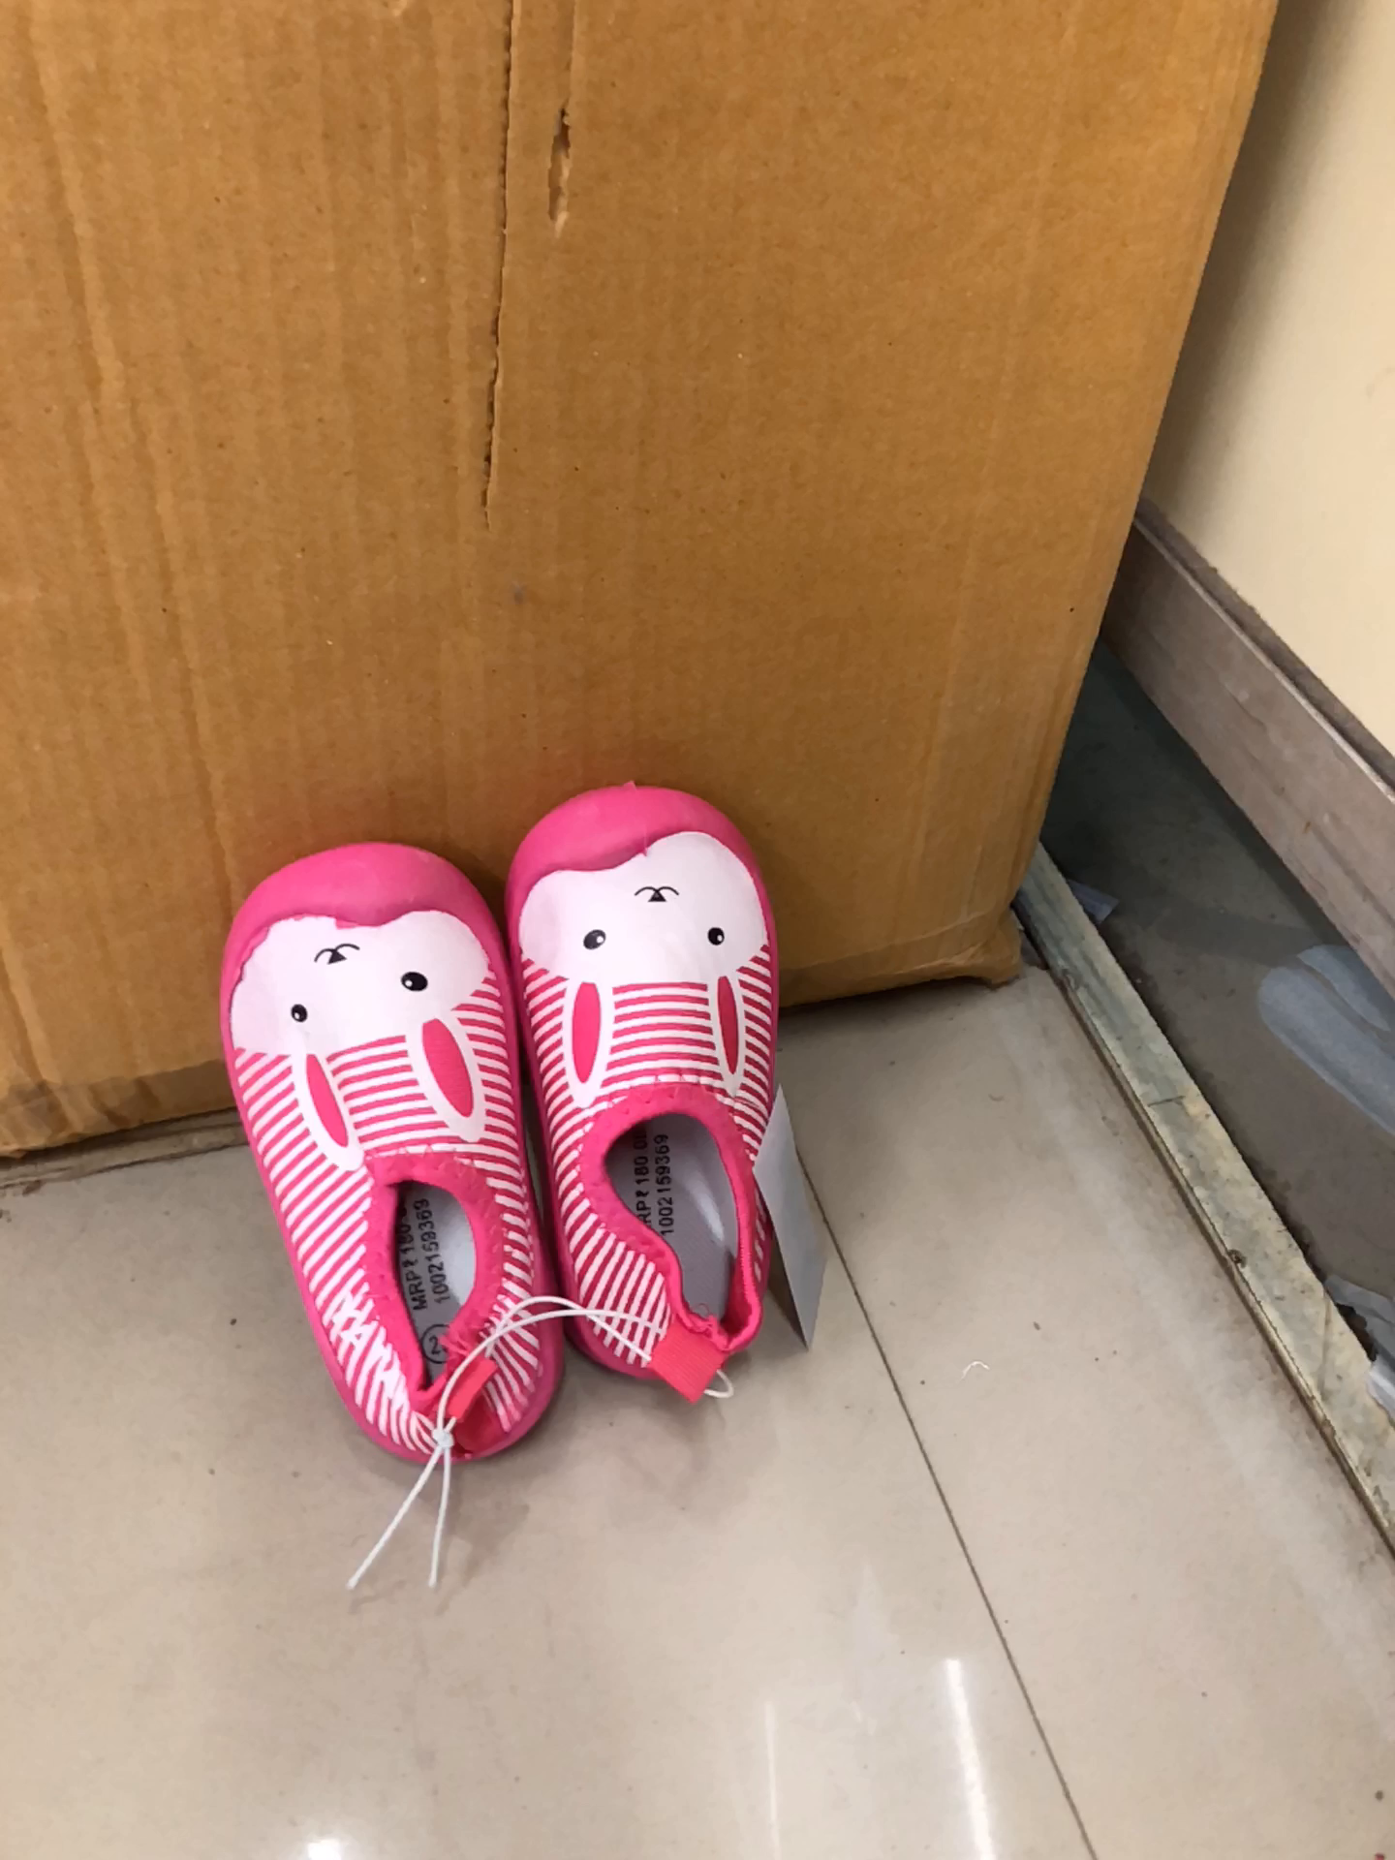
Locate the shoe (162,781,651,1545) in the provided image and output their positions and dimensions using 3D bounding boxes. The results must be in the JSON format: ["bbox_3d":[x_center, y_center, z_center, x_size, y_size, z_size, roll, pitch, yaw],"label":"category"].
[{"bbox_3d":[-0.076,0.054,0.385,0.069,0.082,0.156,-15,86,-18],"label":"shoe"}]

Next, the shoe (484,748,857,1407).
[{"bbox_3d":[-0.011,0.037,0.409,0.069,0.082,0.148,-8,85,-7],"label":"shoe"}]
